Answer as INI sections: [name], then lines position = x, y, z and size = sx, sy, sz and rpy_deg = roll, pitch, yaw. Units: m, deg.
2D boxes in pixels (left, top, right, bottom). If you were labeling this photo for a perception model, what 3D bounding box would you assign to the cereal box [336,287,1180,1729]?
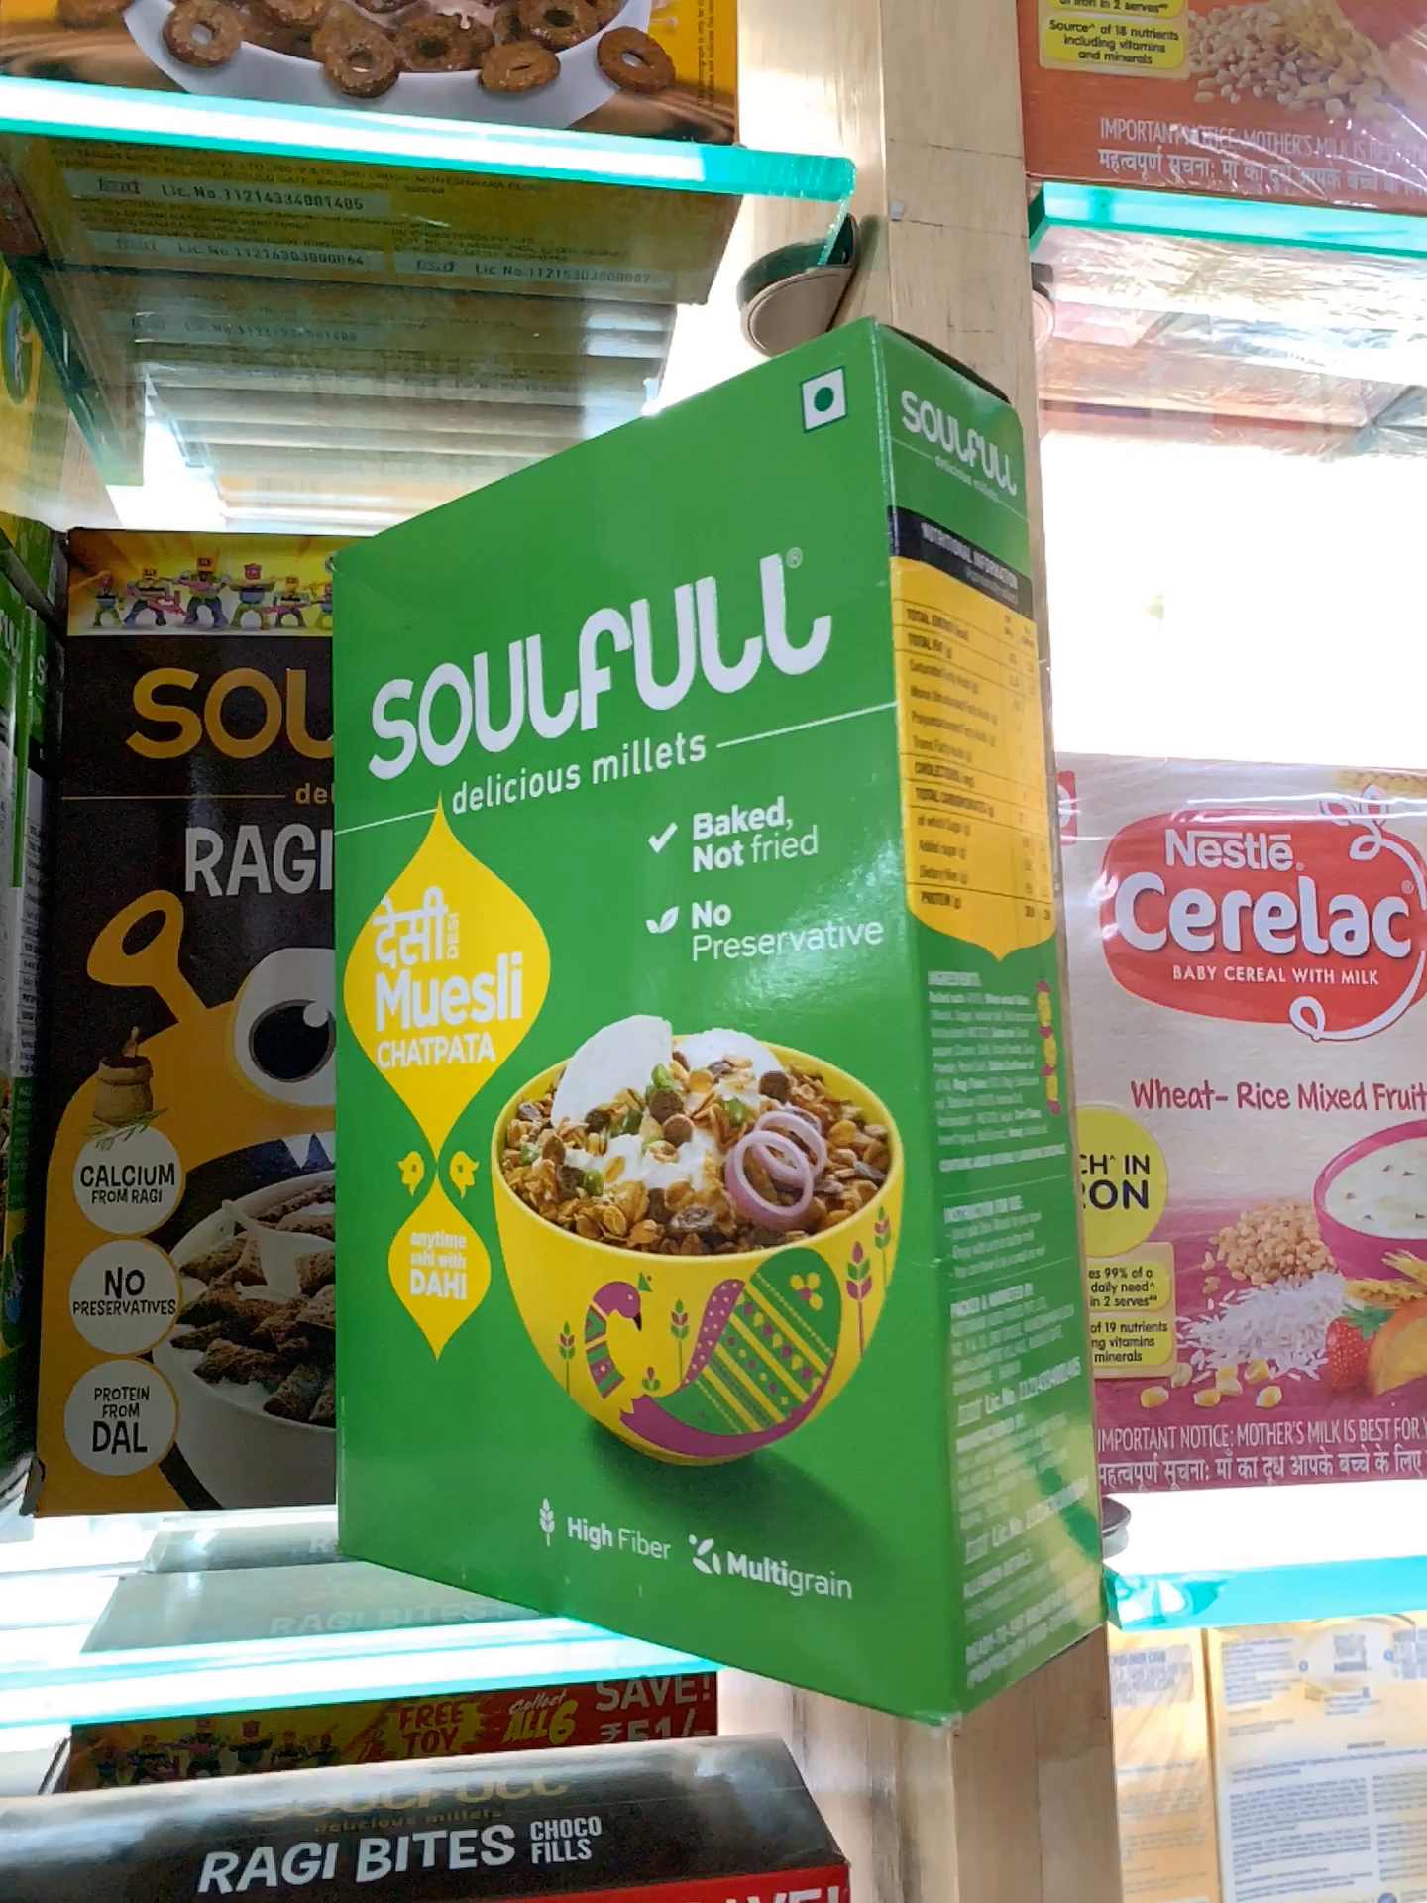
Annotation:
[cereal box]
position = -0.003, 0.011, 0.299
size = 0.160, 0.221, 0.060
rpy_deg = -7, -9, 39
